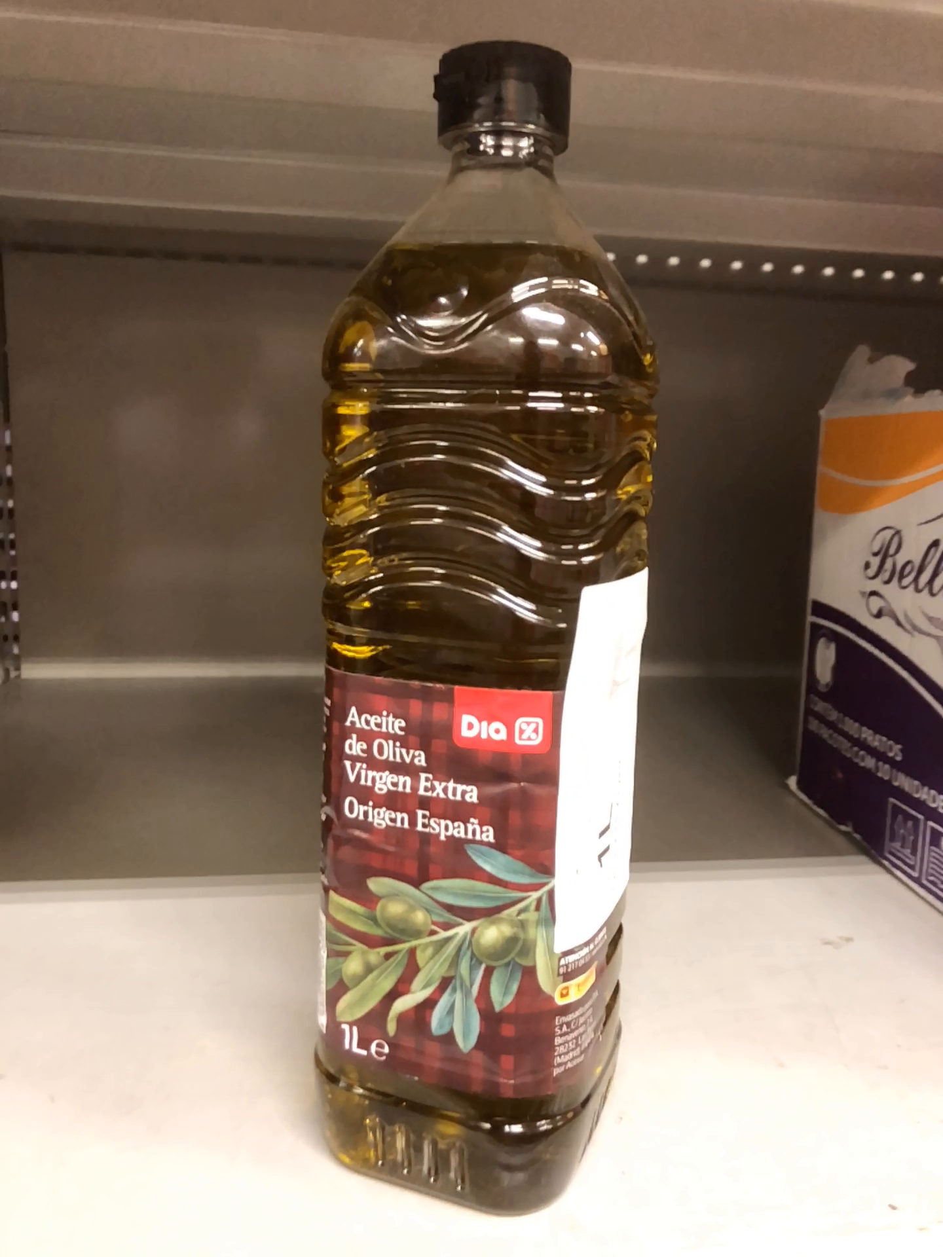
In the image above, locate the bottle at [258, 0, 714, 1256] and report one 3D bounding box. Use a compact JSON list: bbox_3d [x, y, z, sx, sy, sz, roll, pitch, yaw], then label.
[{"bbox_3d":[0.003,-0.001,0.261,0.080,0.279,0.070,7,11,18],"label":"bottle"}]
